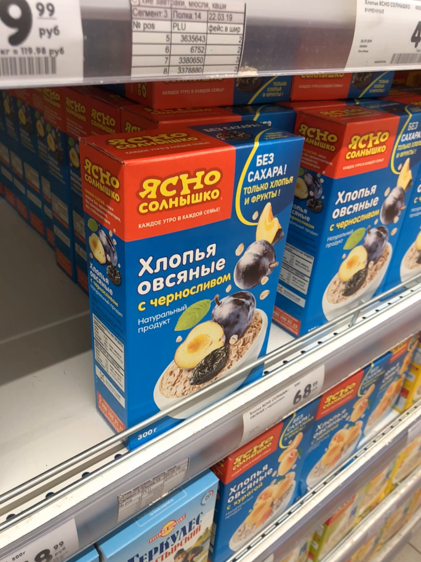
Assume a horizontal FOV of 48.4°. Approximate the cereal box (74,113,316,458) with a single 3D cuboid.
[{"bbox_3d":[-0.011,0.002,0.327,0.140,0.209,0.050,-19,38,-35],"label":"cereal box"}]
